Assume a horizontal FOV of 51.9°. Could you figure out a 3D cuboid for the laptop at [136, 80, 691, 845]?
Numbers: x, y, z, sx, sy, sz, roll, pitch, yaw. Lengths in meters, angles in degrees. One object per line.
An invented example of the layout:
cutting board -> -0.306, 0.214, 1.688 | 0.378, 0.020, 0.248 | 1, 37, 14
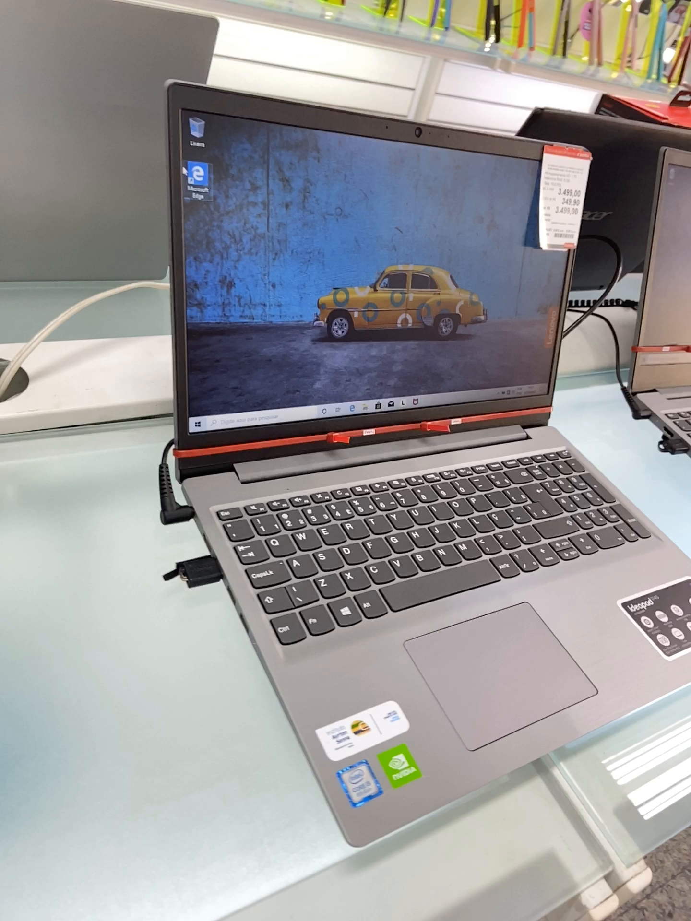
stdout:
laptop -> 0.102, -0.044, 0.461 | 0.365, 0.214, 0.352 | -8, 45, -31
